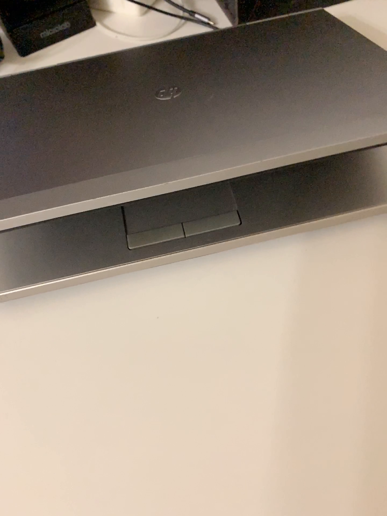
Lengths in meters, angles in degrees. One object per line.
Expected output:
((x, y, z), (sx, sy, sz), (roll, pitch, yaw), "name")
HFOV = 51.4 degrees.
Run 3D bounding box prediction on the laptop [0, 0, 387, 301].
((-0.010, -0.107, 0.283), (0.303, 0.042, 0.200), (-13, 63, -2), "laptop")
